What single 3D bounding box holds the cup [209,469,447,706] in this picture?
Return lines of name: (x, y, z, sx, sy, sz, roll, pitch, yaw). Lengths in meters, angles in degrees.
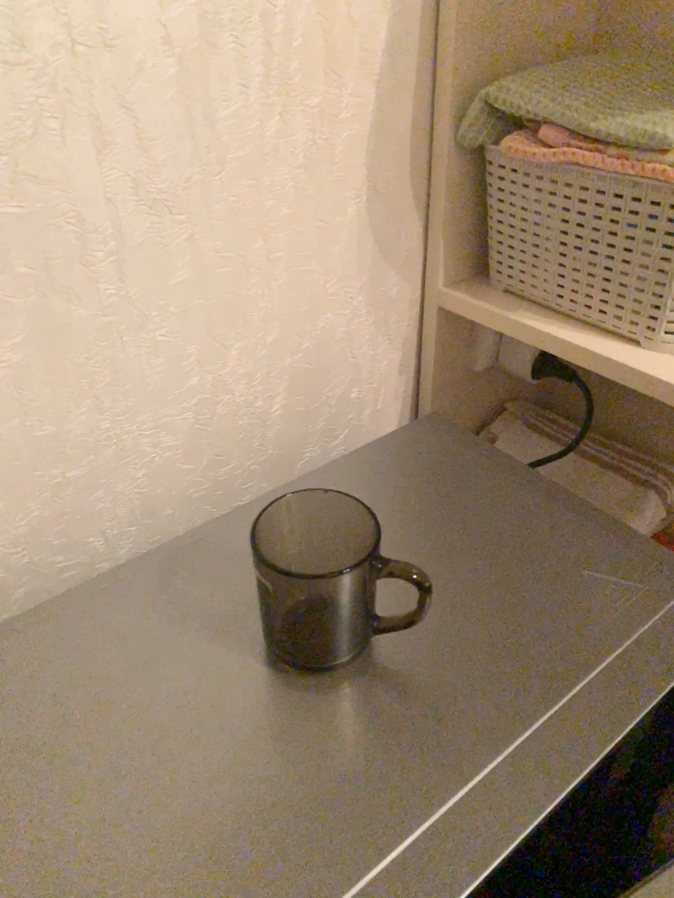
cup: (-0.001, 0.076, 0.394, 0.110, 0.079, 0.081, 9, 37, 14)
